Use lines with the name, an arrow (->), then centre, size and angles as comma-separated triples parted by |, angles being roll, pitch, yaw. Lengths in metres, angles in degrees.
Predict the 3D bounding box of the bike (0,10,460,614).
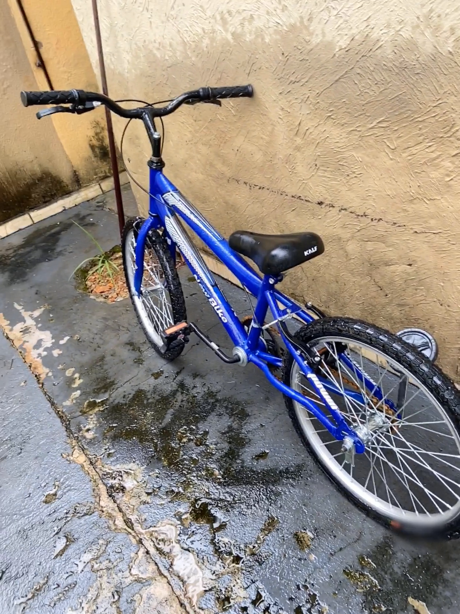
bike -> 0.054, -0.131, 1.097 | 0.543, 0.849, 1.254 | -32, 41, -25
